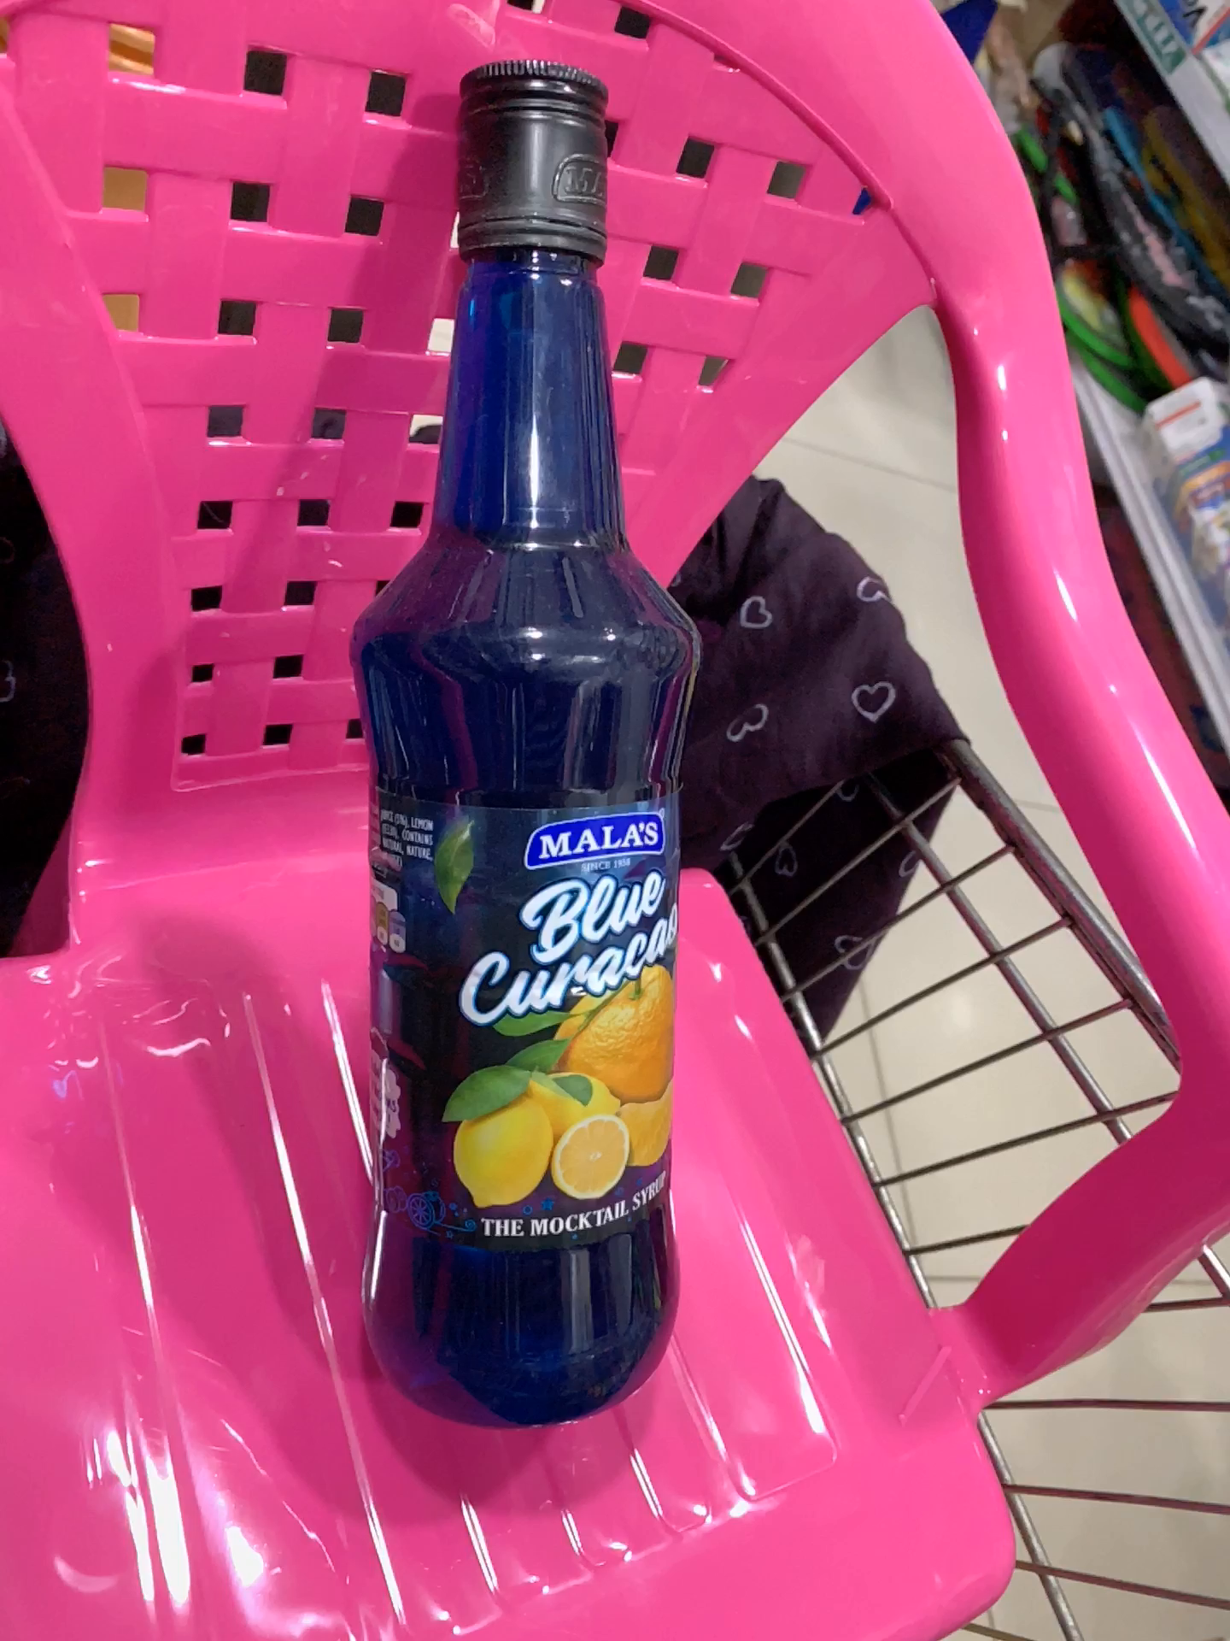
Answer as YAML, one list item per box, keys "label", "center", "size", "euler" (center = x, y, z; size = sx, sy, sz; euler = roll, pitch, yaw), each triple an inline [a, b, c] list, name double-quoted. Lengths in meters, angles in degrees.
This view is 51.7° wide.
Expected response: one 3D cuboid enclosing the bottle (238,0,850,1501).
- label: "bottle"
  center: [-0.021, -0.012, 0.263]
  size: [0.080, 0.270, 0.080]
  euler: [3, 16, -1]
